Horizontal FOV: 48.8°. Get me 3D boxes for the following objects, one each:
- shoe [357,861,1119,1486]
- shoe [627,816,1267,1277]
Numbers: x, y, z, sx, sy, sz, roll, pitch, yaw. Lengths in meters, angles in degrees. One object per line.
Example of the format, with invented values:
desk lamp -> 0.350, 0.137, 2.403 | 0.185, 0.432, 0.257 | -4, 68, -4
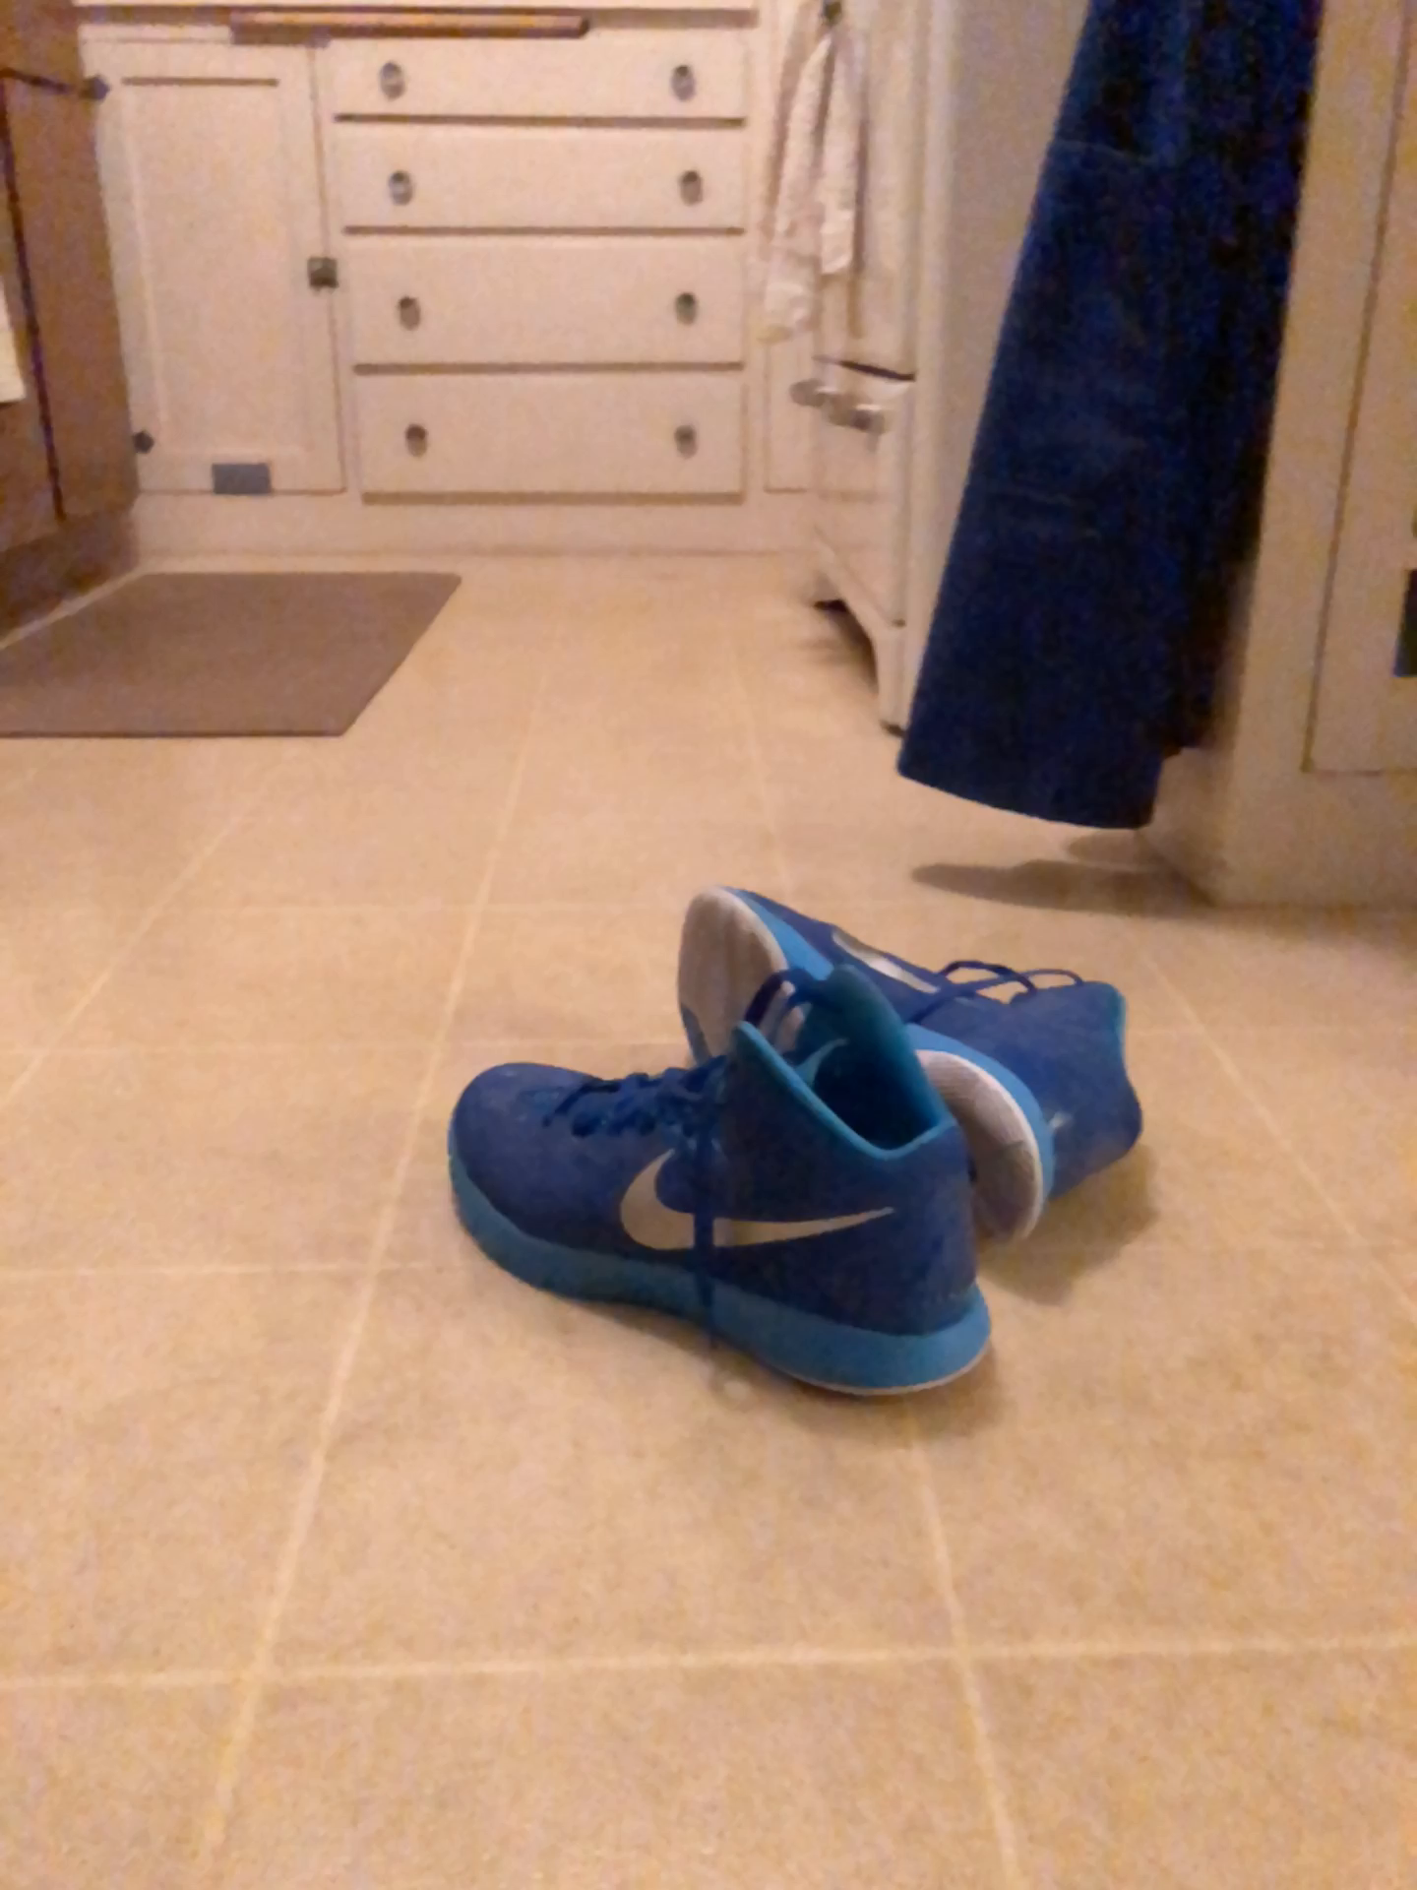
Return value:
shoe -> 0.002, 0.079, 0.683 | 0.311, 0.144, 0.120 | 16, 27, 35
shoe -> 0.108, 0.033, 0.806 | 0.159, 0.119, 0.282 | -11, 24, -38
